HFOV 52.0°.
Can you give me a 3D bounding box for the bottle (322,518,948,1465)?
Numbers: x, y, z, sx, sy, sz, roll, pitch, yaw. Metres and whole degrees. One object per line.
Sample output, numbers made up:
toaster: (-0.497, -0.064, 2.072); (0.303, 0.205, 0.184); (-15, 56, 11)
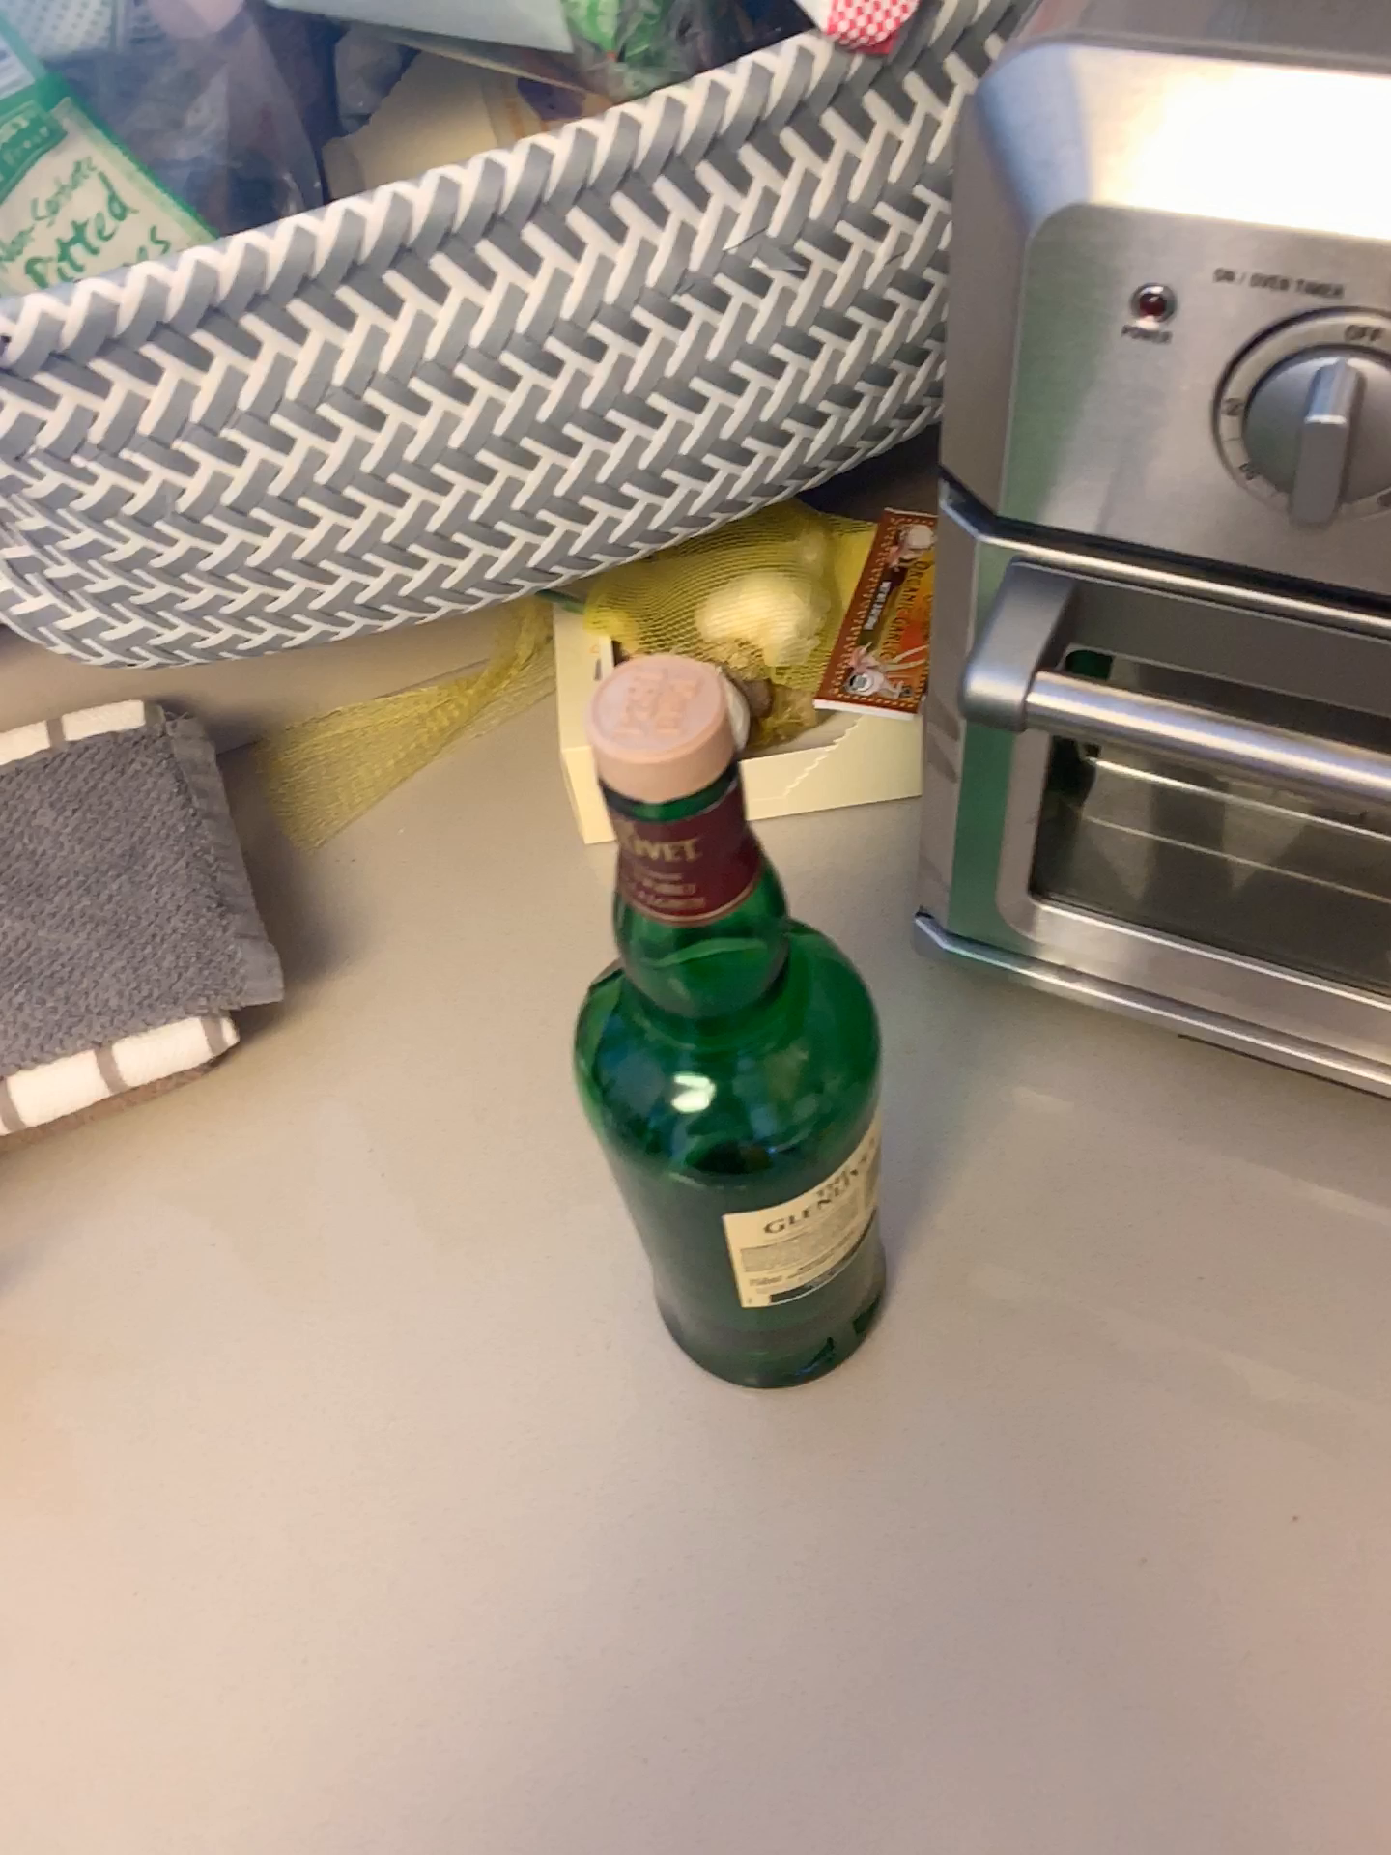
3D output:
bottle: (0.003, 0.043, 0.369); (0.080, 0.279, 0.080); (-4, 55, 5)
